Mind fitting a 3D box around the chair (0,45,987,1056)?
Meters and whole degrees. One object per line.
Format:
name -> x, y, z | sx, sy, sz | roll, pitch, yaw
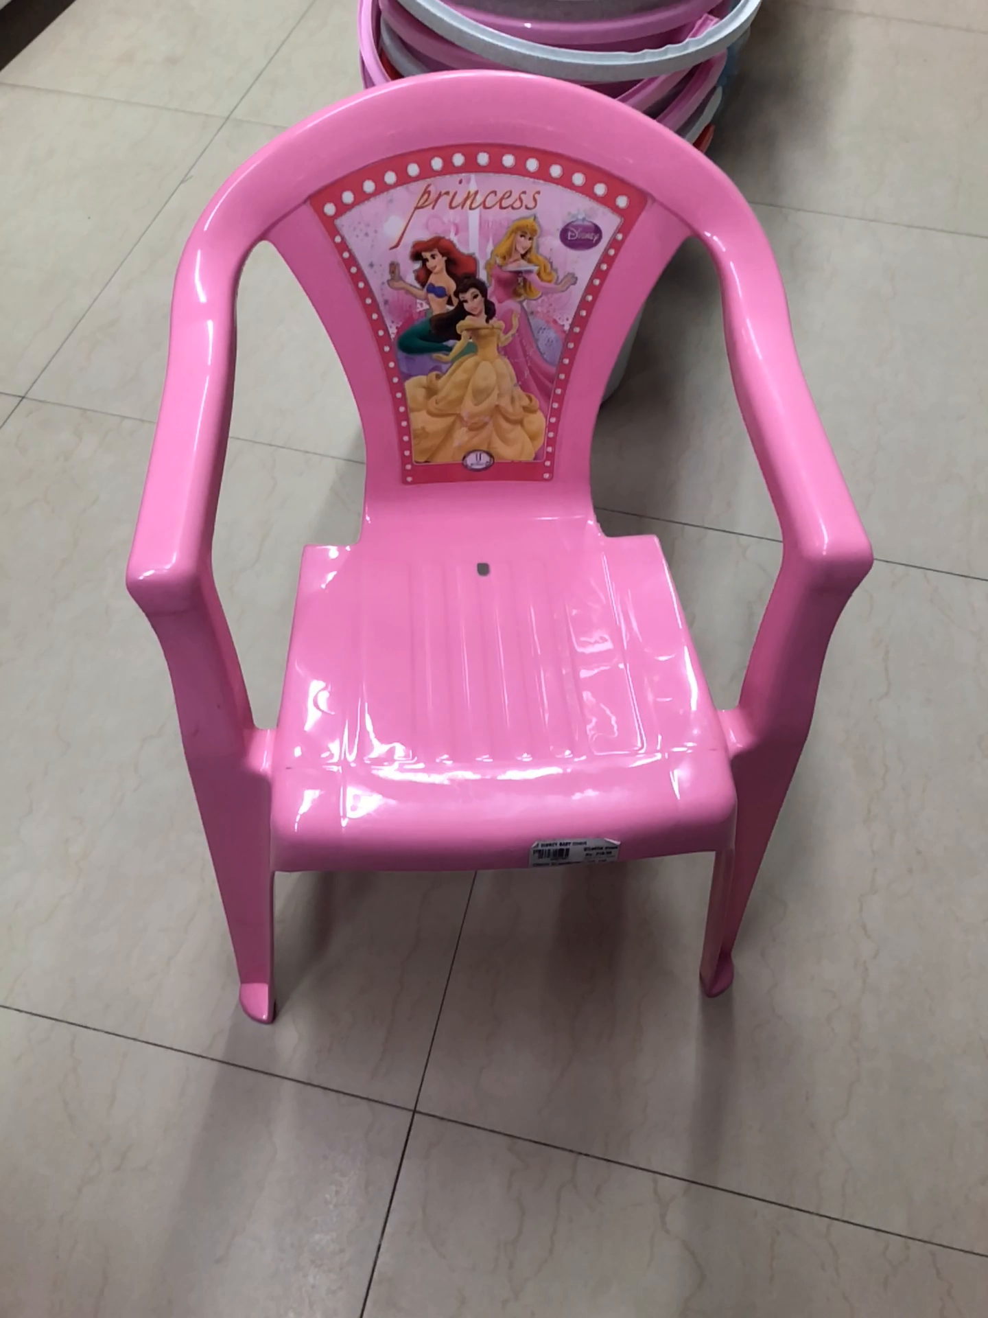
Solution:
chair -> -0.007, -0.028, 0.639 | 0.370, 0.477, 0.352 | -2, 54, -4
